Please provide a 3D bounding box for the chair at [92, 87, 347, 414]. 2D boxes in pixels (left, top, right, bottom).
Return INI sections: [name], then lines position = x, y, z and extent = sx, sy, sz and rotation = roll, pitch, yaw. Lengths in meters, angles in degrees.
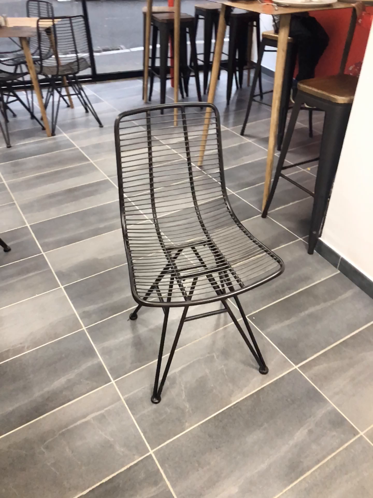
[chair]
position = 0.042, -0.005, 1.272
extent = 0.501, 0.785, 0.522
rotation = -11, 38, -13
